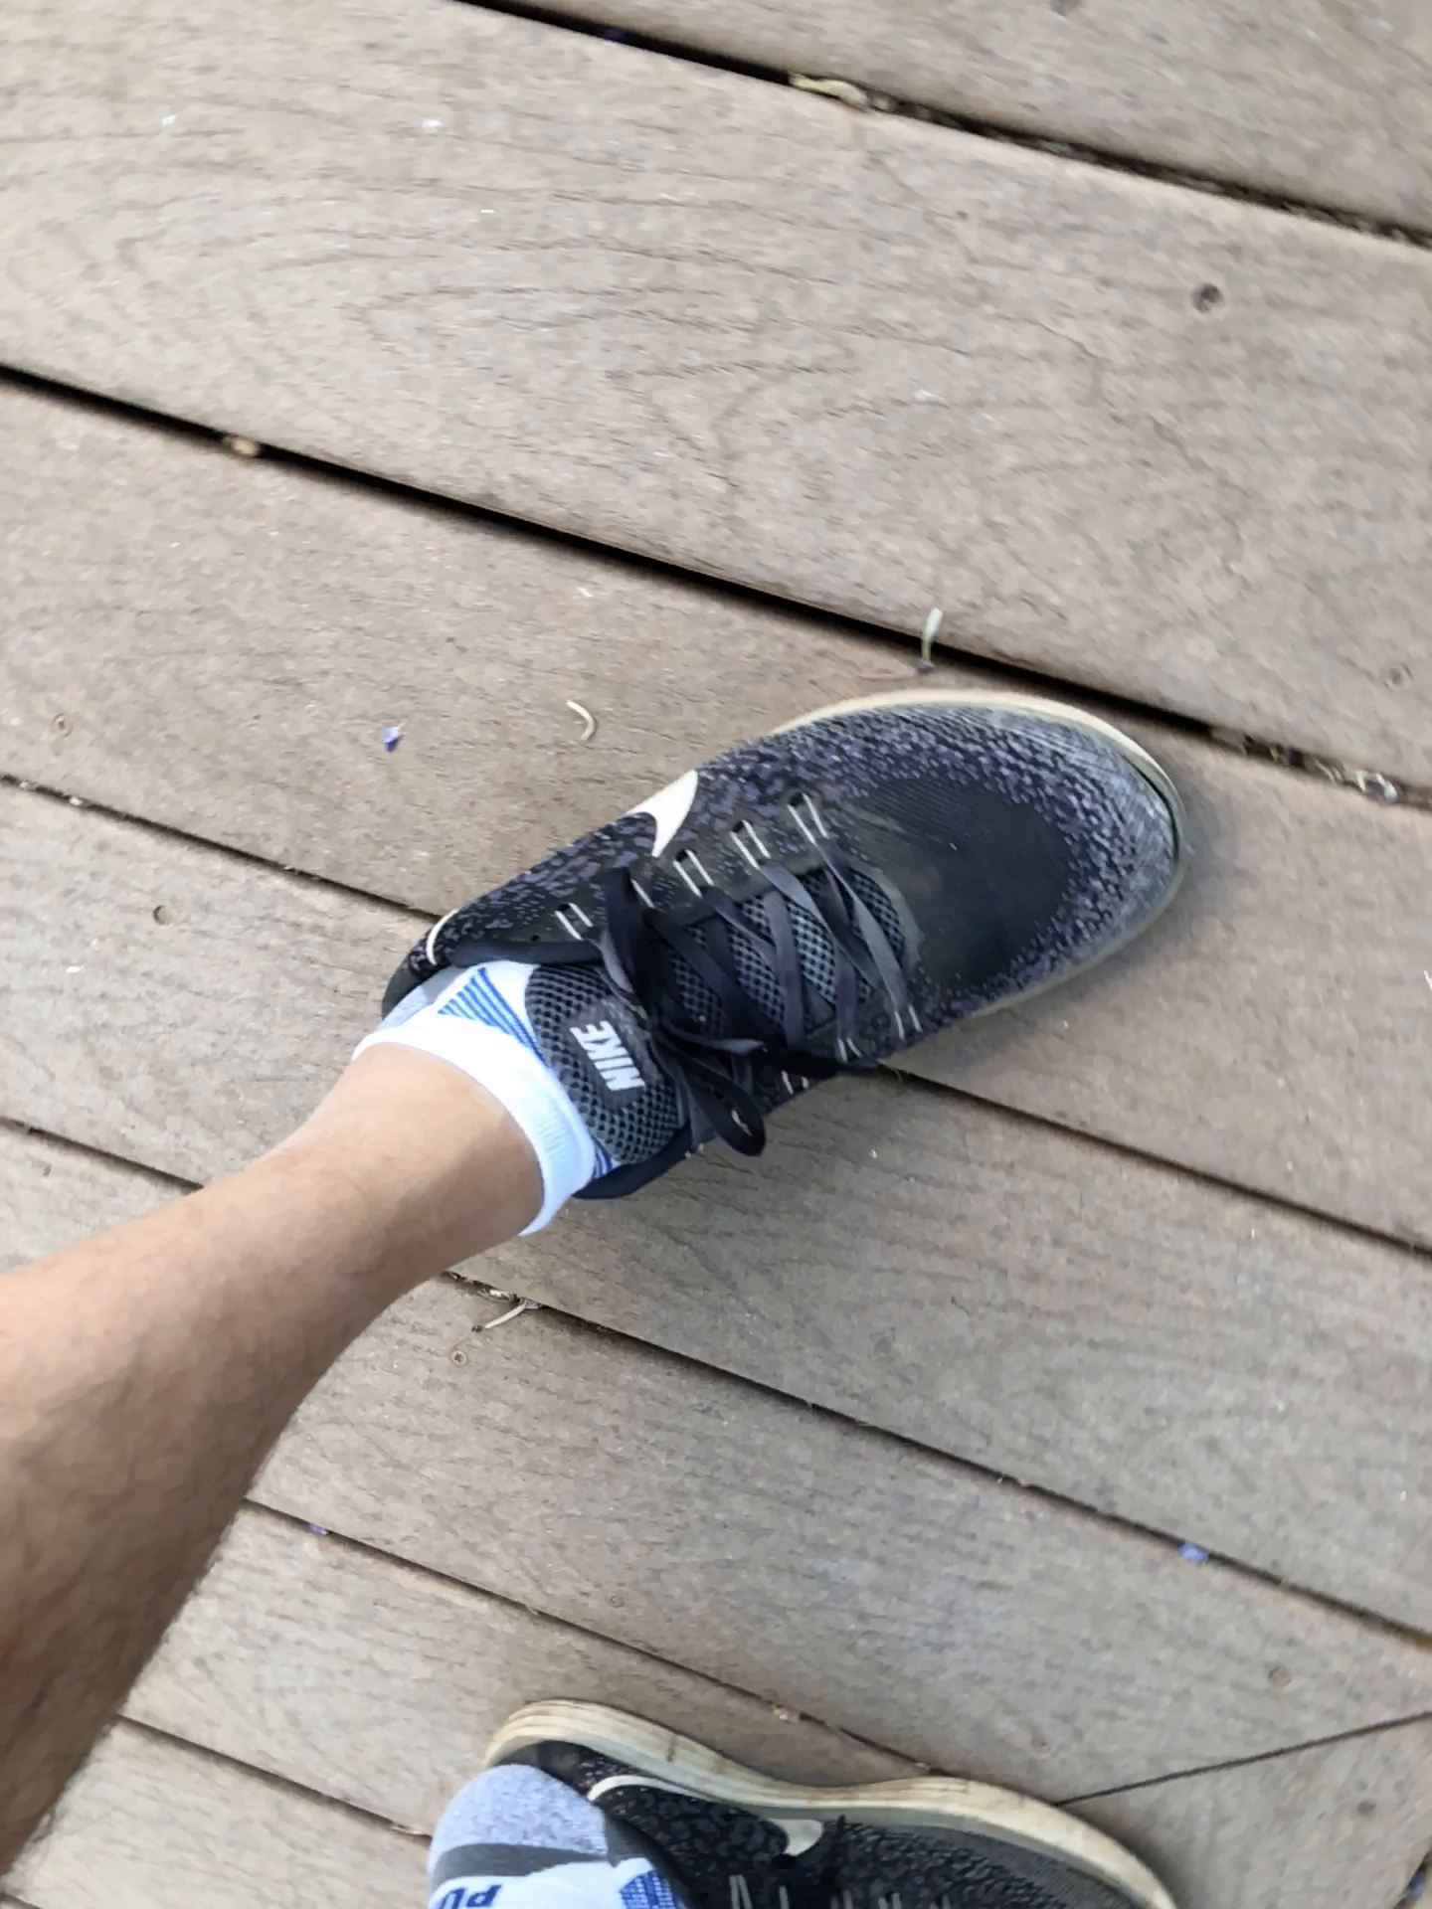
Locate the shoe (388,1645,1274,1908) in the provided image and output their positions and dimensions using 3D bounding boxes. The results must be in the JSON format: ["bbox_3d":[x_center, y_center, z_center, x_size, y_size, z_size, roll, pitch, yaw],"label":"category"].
[{"bbox_3d":[0.040,0.393,0.634,0.320,0.090,0.120,10,109,6],"label":"shoe"}]

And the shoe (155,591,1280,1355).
[{"bbox_3d":[-0.003,0.008,0.500,0.310,0.090,0.120,-22,102,15],"label":"shoe"}]
